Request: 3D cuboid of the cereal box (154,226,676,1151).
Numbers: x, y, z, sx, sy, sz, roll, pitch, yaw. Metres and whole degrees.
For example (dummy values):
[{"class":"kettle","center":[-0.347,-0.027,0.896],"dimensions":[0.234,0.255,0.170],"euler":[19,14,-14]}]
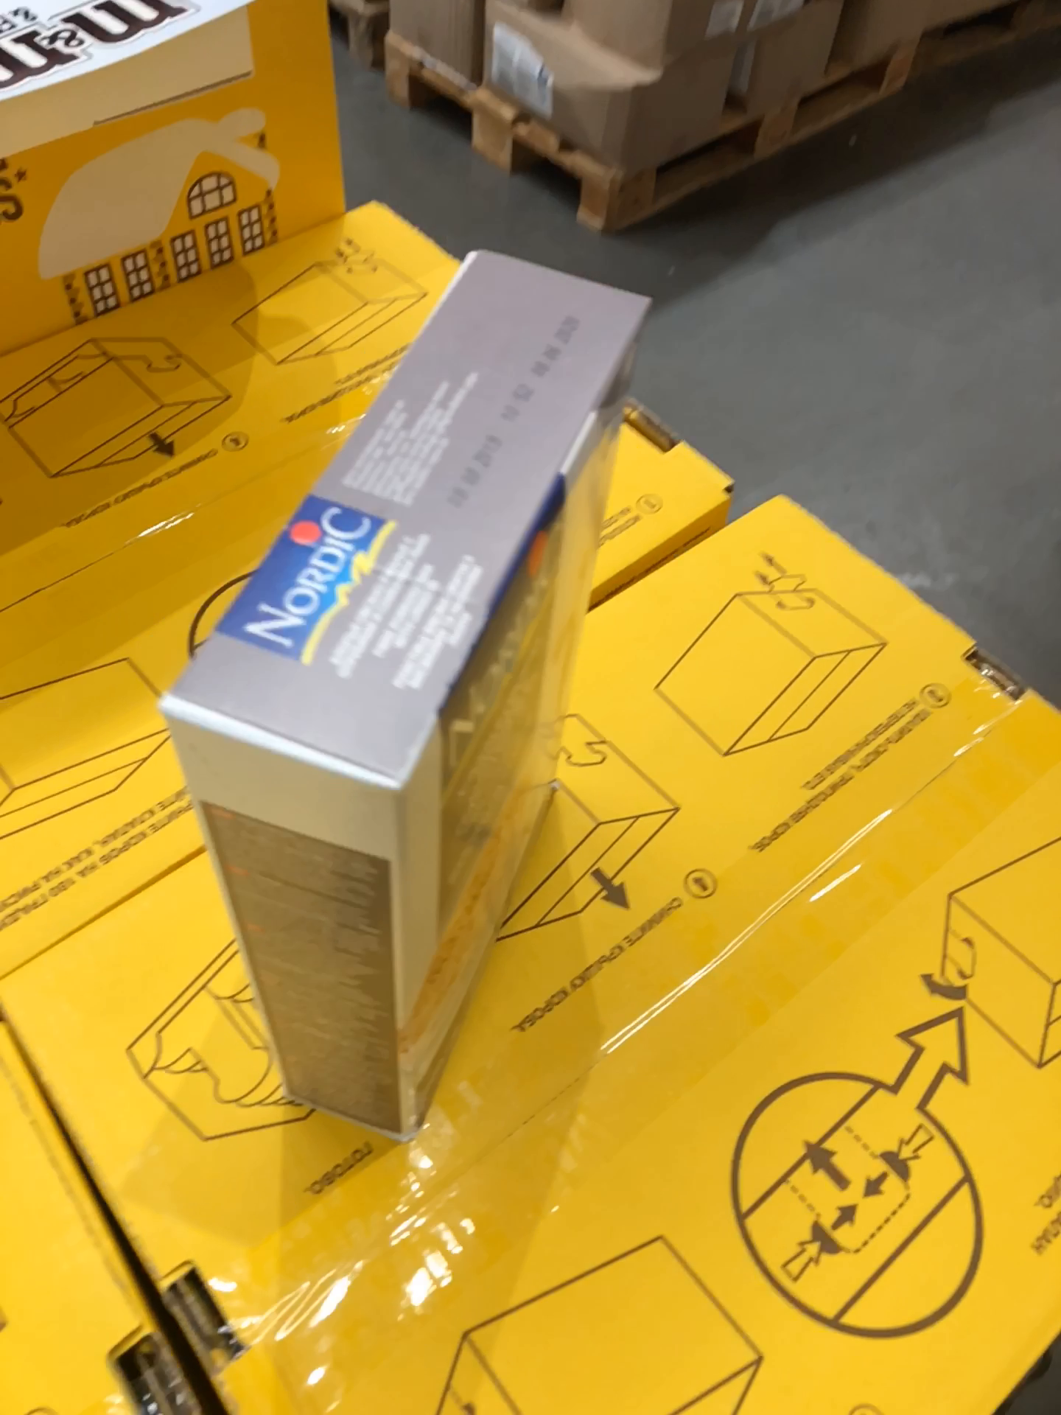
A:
[{"class":"cereal box","center":[-0.023,0.011,0.324],"dimensions":[0.050,0.218,0.151],"euler":[19,55,8]}]
